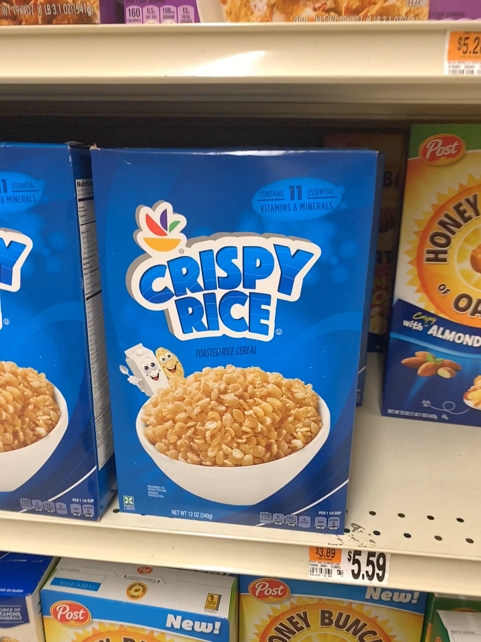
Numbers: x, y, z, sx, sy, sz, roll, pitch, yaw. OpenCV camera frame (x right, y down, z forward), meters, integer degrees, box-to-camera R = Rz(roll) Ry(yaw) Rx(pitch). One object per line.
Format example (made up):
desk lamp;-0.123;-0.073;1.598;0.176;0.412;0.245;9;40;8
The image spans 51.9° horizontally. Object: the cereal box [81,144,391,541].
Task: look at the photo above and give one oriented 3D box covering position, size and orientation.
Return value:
cereal box;-0.005;0.021;0.417;0.210;0.319;0.070;3;19;6
